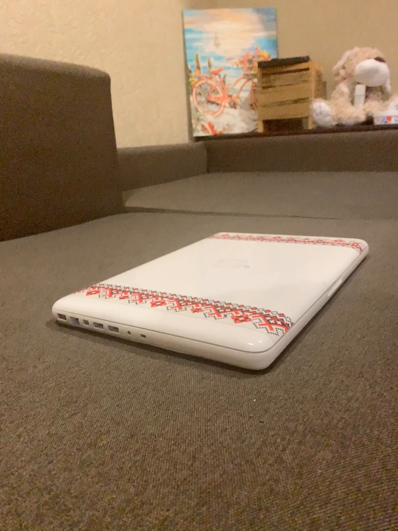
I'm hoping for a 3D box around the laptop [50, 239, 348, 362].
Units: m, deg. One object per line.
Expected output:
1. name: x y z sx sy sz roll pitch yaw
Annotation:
1. laptop: 0.027 0.012 0.486 0.222 0.003 0.325 7 19 31
